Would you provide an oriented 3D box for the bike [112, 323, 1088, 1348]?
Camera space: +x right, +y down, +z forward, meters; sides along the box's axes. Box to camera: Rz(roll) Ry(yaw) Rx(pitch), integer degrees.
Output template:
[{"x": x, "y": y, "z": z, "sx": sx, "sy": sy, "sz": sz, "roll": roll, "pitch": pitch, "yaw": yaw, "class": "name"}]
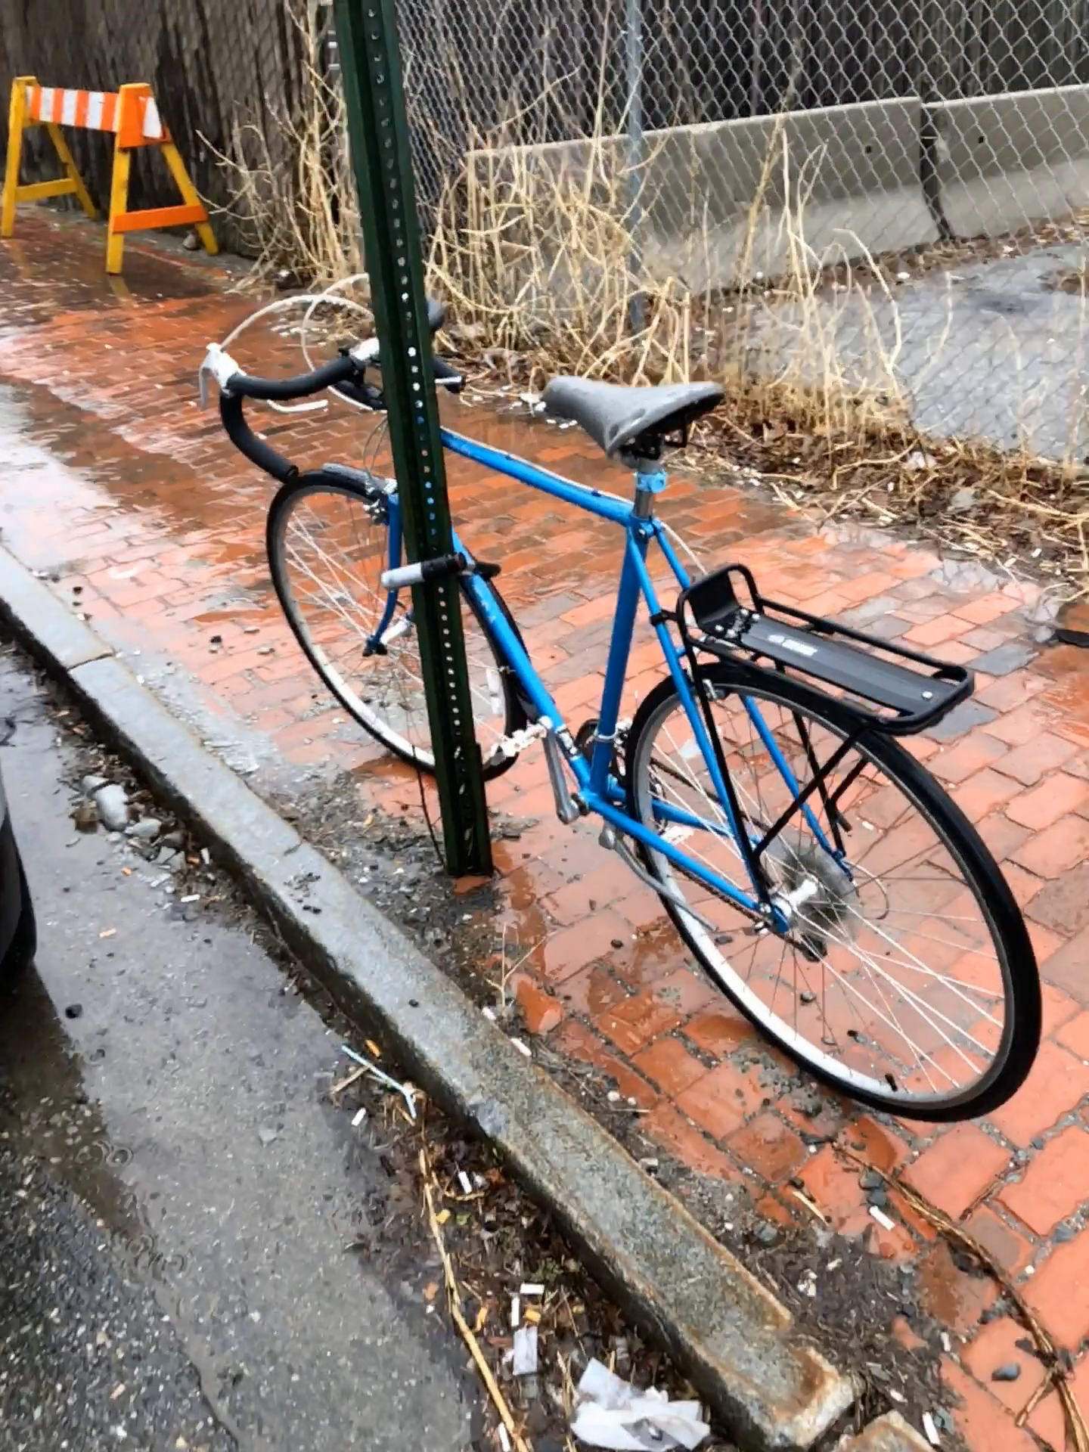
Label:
[{"x": -0.035, "y": -0.034, "z": 2.043, "sx": 0.473, "sy": 0.919, "sz": 1.870, "roll": -25, "pitch": 38, "yaw": -33, "class": "bike"}]
